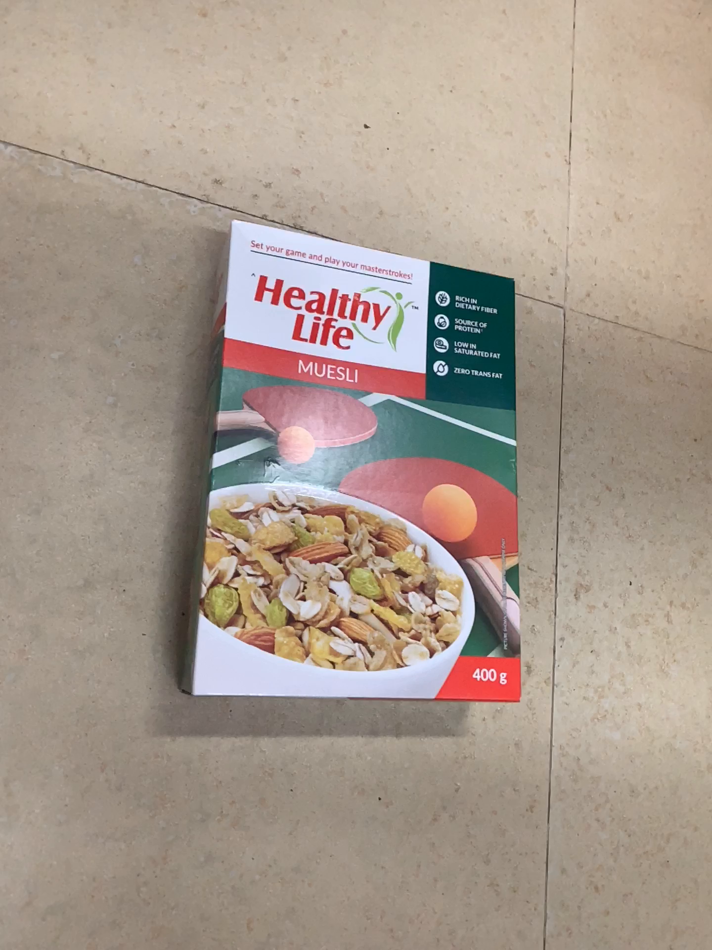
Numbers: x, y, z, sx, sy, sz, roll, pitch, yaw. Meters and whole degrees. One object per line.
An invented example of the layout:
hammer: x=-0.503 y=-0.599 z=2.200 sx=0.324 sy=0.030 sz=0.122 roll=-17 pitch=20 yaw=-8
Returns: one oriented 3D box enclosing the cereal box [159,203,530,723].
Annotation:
cereal box: x=-0.004 y=0.003 z=0.376 sx=0.160 sy=0.080 sz=0.230 roll=7 pitch=75 yaw=-19
